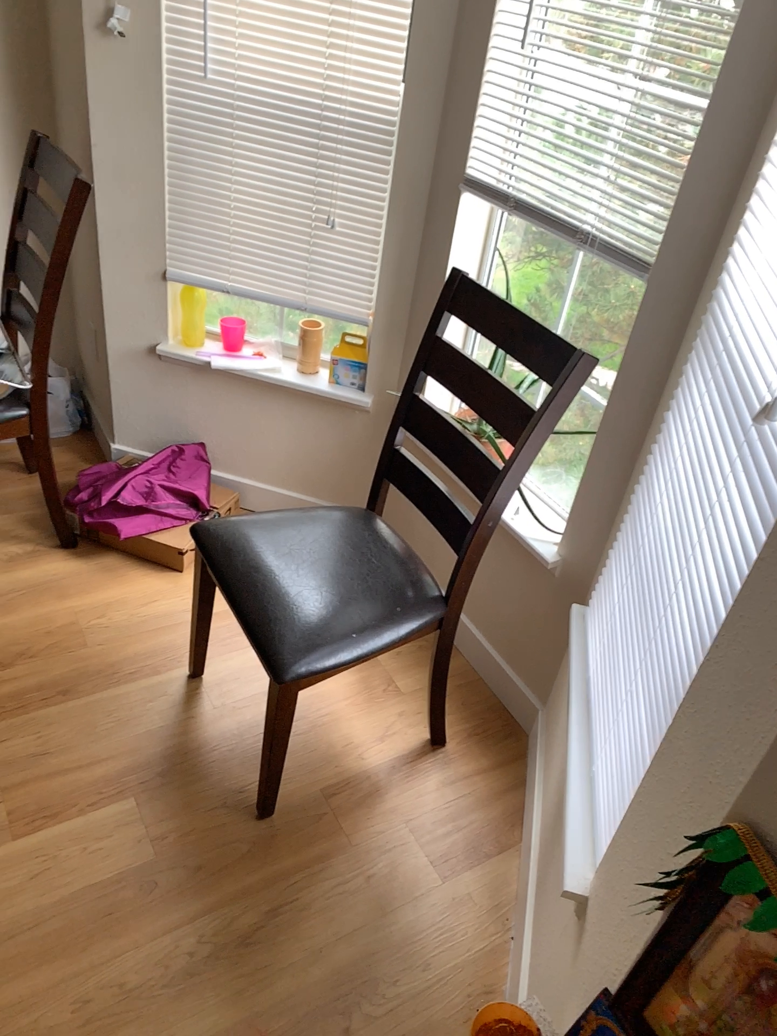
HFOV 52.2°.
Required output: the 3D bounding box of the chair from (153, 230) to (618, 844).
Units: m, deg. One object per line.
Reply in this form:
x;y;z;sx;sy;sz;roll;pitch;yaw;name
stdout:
-0.089;0.019;1.534;0.541;0.945;0.562;-13;41;-29;chair
